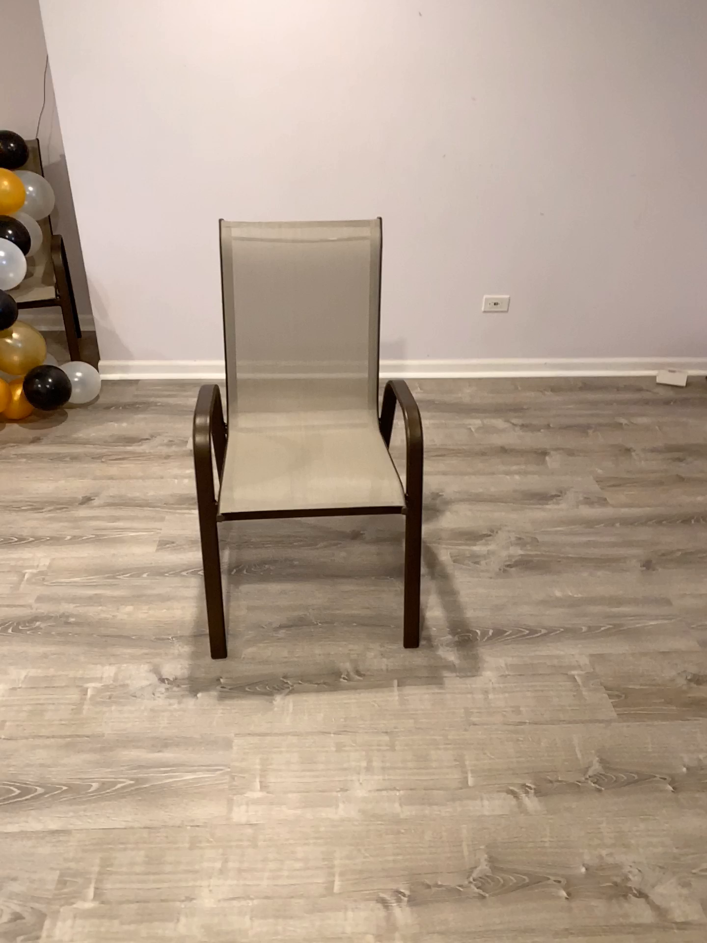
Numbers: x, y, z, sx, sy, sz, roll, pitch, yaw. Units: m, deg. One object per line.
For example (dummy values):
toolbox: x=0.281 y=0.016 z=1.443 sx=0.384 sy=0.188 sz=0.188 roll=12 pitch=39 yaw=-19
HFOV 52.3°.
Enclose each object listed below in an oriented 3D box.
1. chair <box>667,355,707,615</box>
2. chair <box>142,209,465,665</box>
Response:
chair: x=1.209 y=0.023 z=1.934 sx=0.424 sy=0.526 sz=0.438 roll=-2 pitch=31 yaw=-6
chair: x=-0.127 y=-0.122 z=1.790 sx=0.564 sy=0.873 sz=0.720 roll=-2 pitch=31 yaw=-6
